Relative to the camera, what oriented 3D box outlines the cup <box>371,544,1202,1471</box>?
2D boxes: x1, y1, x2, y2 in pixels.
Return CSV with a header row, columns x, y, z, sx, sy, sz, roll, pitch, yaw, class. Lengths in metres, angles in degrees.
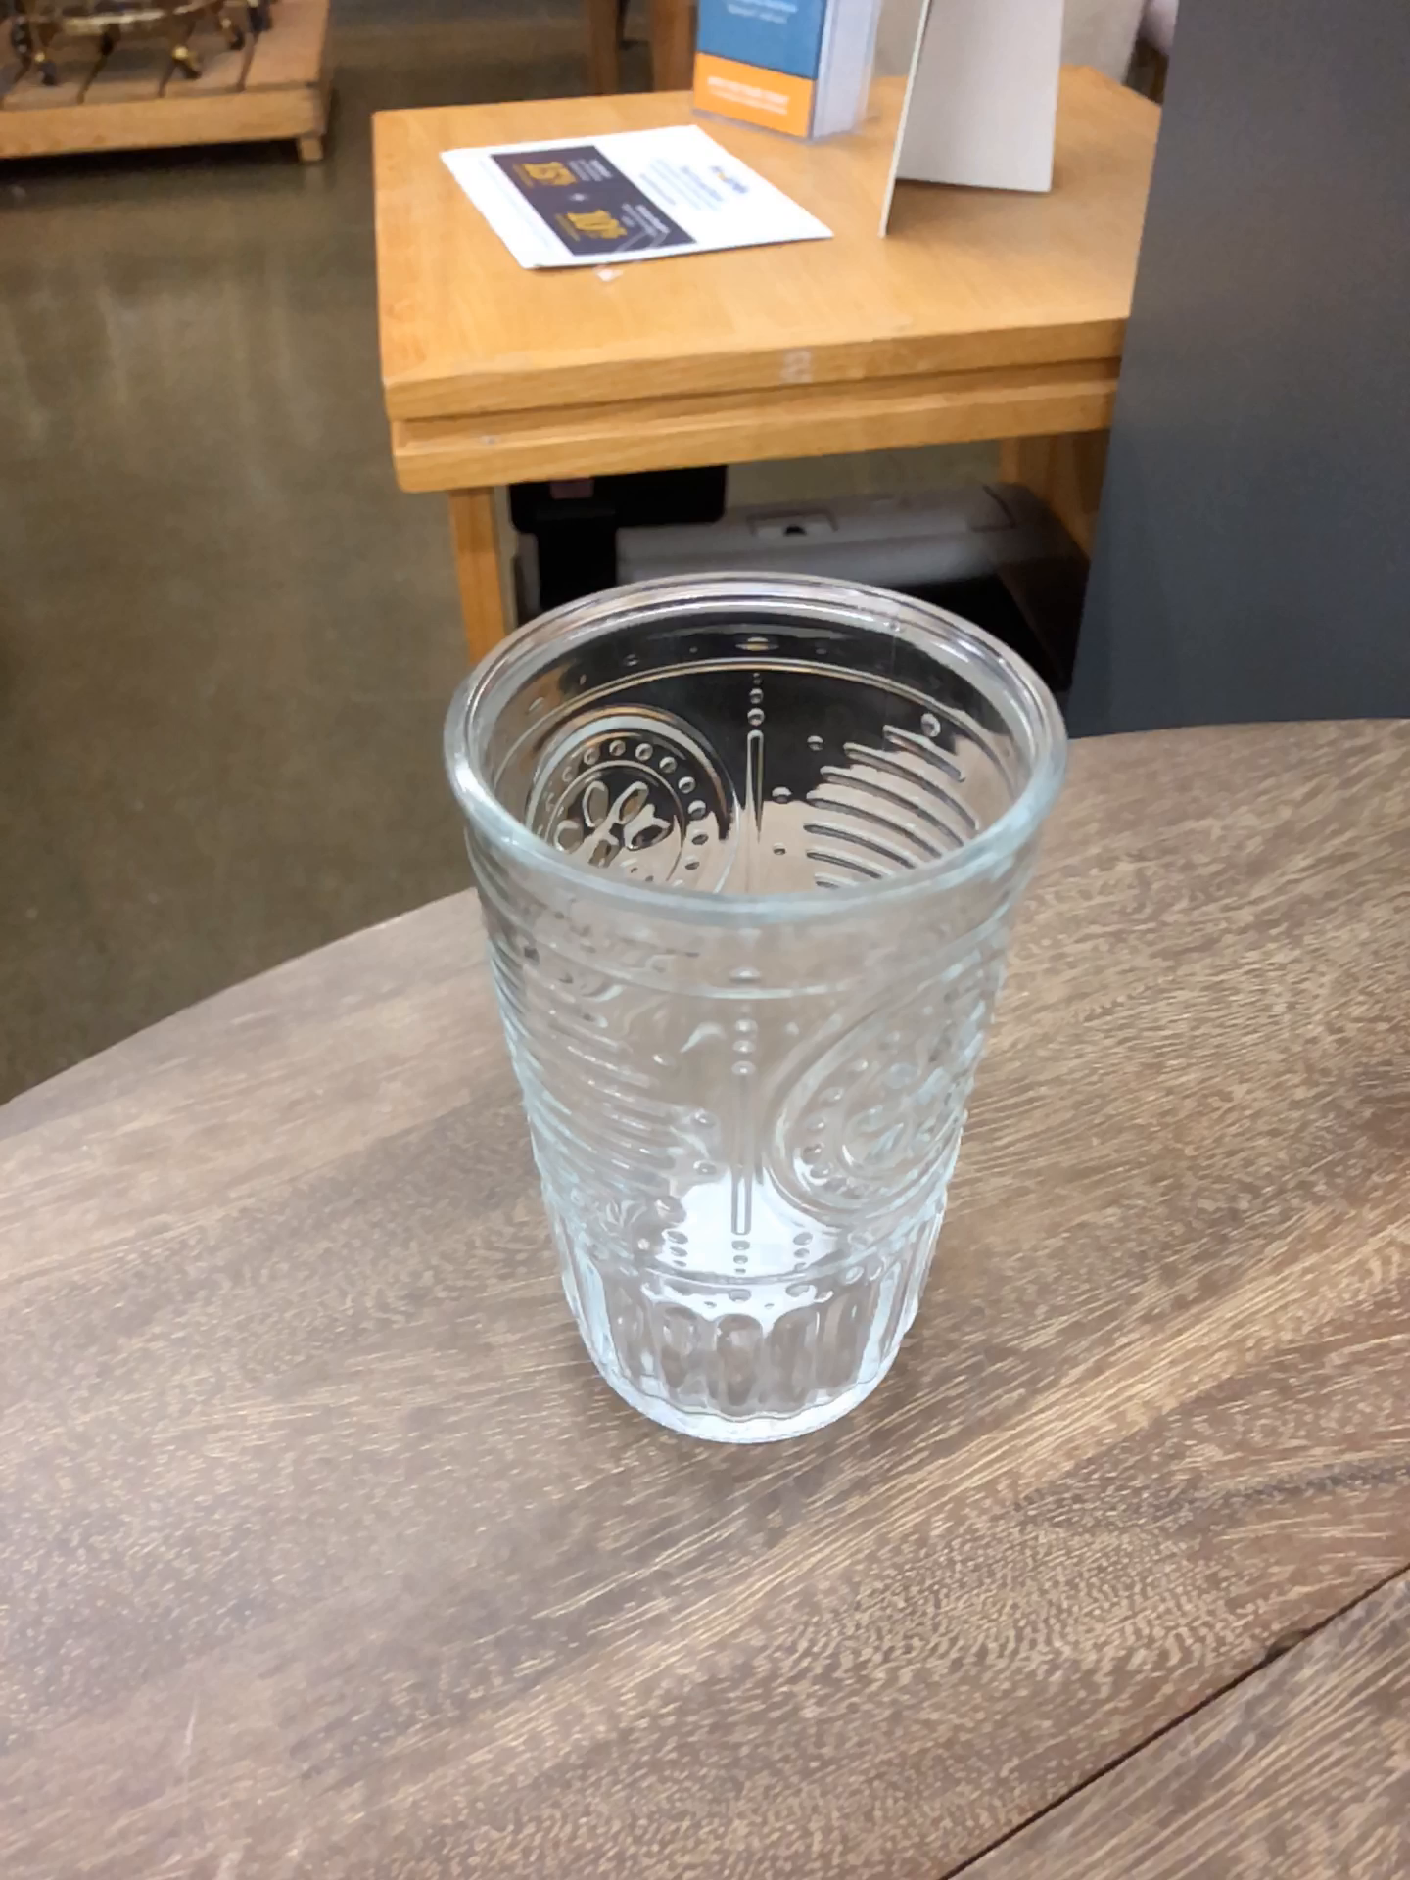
x,y,z,sx,sy,sz,roll,pitch,yaw,class
0.010,0.011,0.233,0.088,0.107,0.085,-1,40,1,cup
